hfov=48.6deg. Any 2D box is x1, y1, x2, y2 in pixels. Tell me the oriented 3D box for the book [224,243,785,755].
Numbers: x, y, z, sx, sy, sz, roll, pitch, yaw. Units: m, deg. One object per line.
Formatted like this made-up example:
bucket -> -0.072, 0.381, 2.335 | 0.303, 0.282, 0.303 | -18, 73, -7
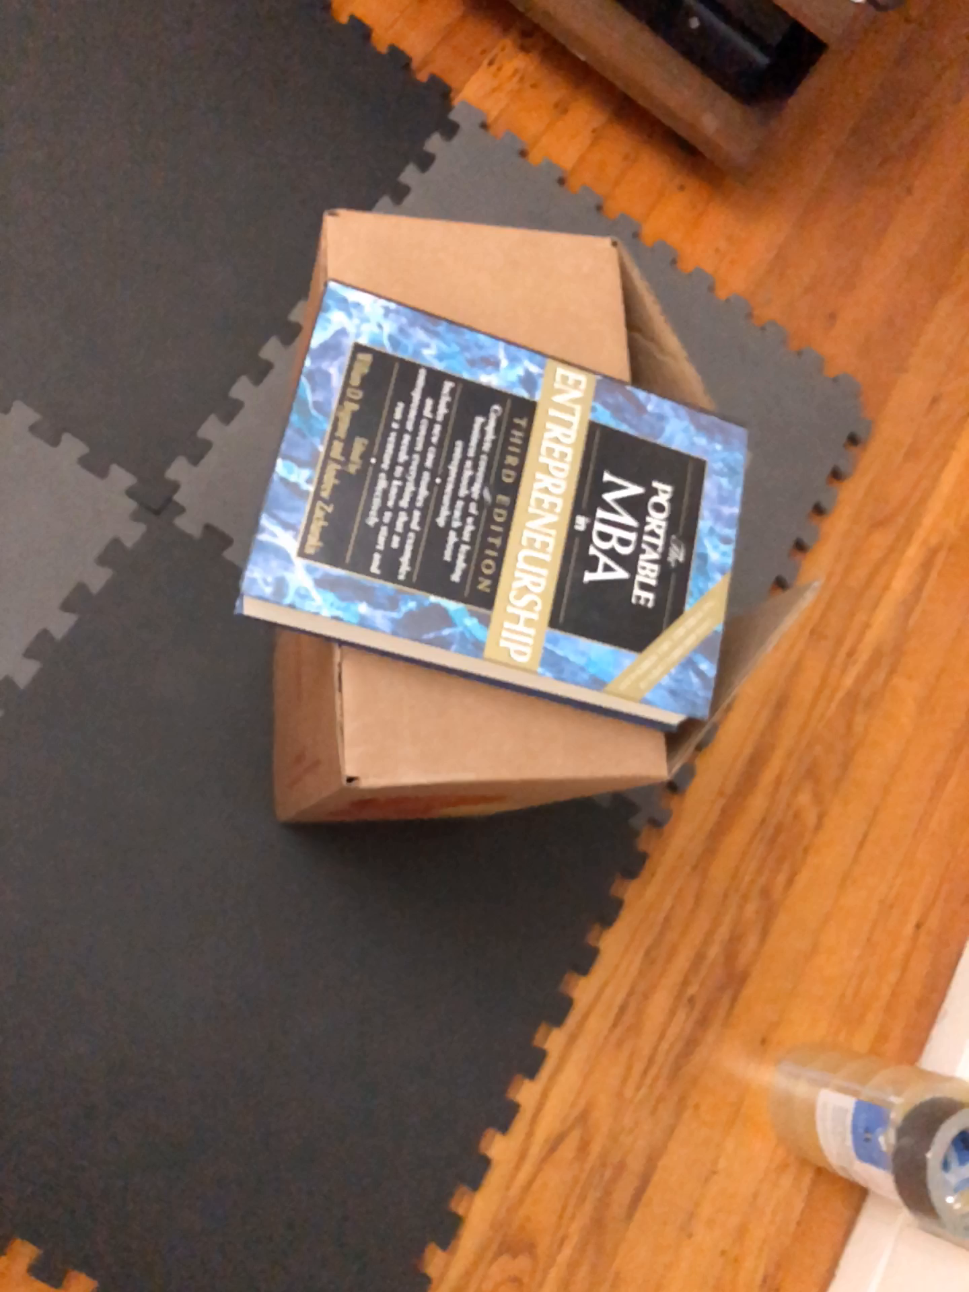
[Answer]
book -> 0.017, -0.076, 0.597 | 0.270, 0.060, 0.210 | 15, 73, -10
